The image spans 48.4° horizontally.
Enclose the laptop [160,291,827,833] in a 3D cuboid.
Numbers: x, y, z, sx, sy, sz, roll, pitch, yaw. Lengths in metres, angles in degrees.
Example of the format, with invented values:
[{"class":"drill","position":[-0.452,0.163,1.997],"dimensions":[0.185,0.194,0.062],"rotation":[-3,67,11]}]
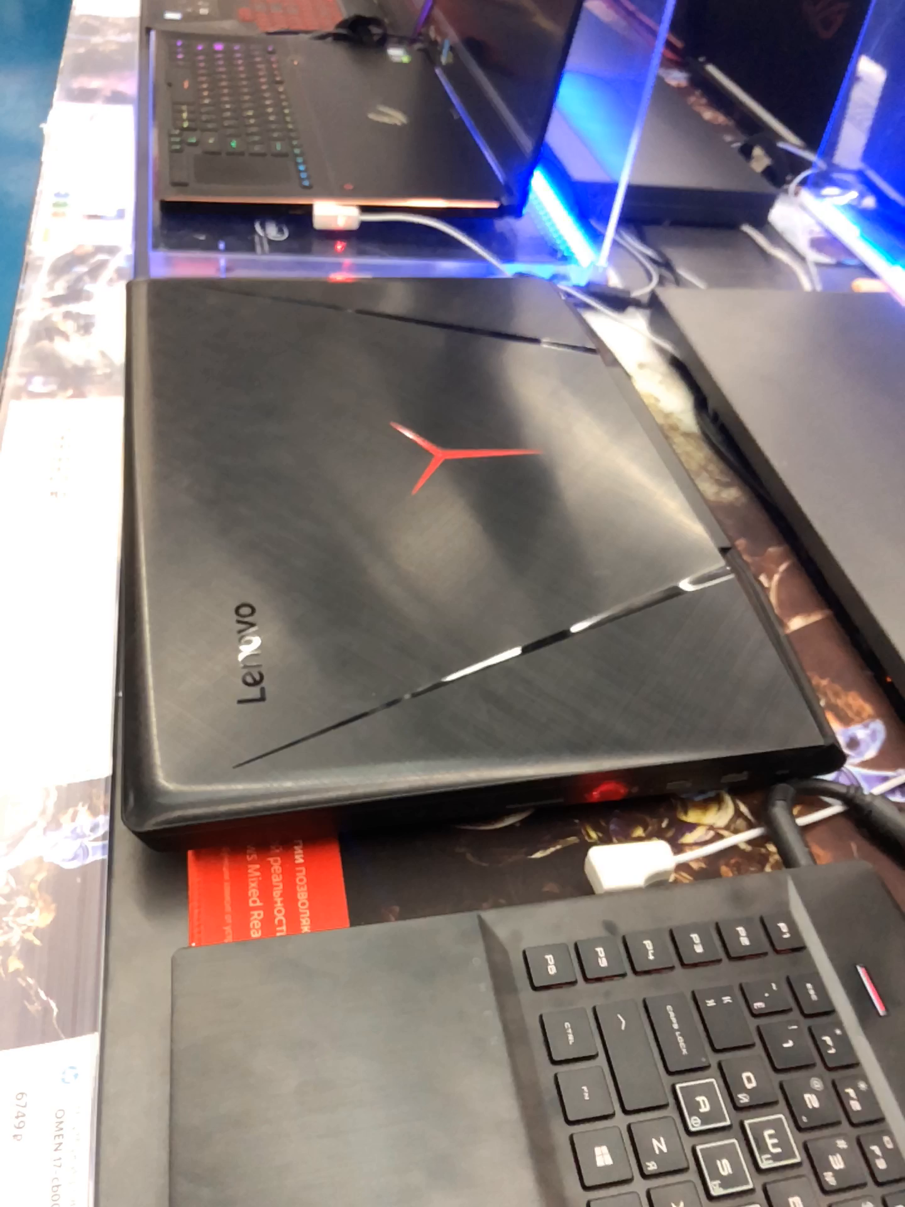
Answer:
[{"class":"laptop","position":[-0.014,-0.067,0.539],"dimensions":[0.269,0.005,0.401],"rotation":[-4,45,-13]}]
